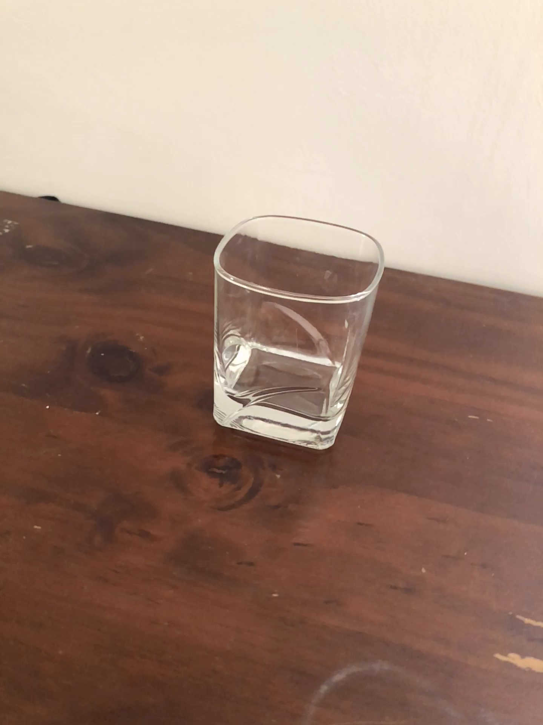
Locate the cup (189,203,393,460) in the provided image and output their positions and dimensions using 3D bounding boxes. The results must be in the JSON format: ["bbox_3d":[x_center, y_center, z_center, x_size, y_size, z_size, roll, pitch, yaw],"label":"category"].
[{"bbox_3d":[0.009,-0.018,0.300,0.077,0.087,0.076,4,36,-3],"label":"cup"}]
